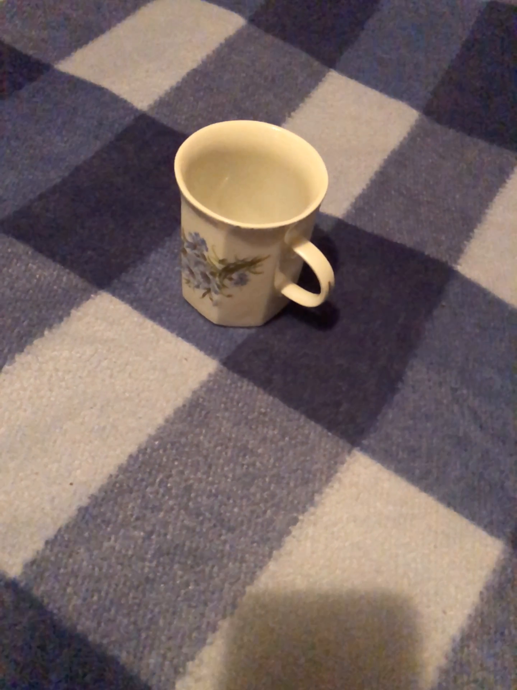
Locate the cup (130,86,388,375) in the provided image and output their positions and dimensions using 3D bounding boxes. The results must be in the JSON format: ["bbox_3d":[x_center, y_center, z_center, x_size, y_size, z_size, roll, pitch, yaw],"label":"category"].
[{"bbox_3d":[-0.003,-0.061,0.313,0.077,0.094,0.098,-37,67,-24],"label":"cup"}]
